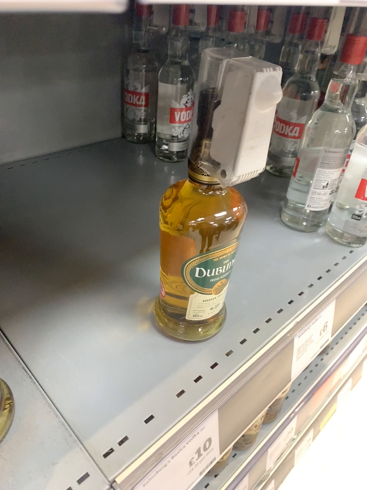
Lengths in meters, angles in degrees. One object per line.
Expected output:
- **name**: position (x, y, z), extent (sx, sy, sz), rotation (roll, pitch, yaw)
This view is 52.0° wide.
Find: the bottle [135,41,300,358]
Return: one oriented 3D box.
- **bottle**: position (0.015, -0.031, 0.368), extent (0.089, 0.283, 0.091), rotation (3, 36, -2)
